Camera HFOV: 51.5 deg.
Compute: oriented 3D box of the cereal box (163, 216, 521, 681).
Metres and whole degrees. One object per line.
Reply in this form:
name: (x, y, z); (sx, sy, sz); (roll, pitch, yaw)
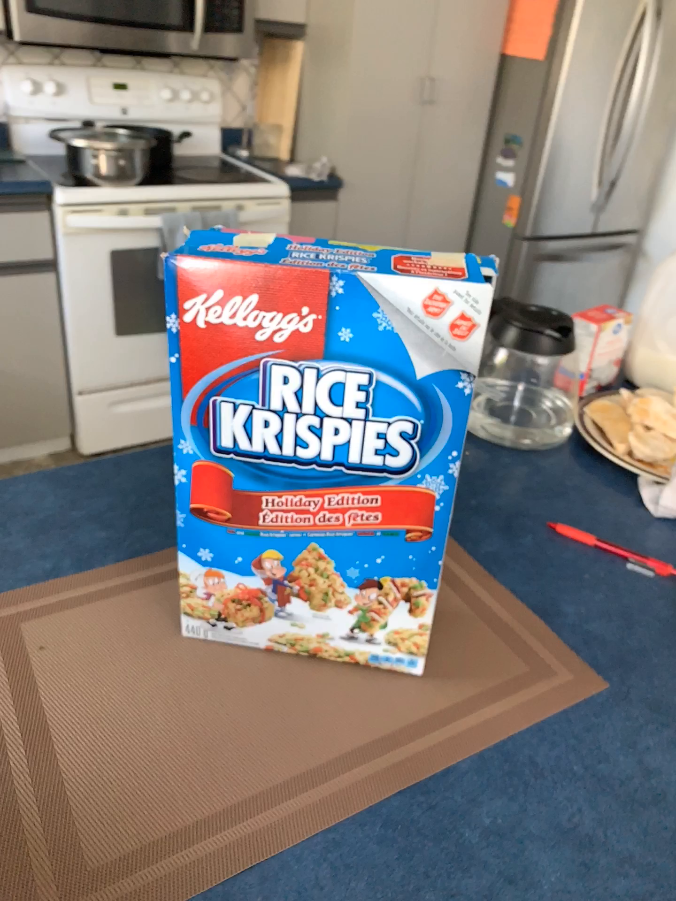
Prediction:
cereal box: (-0.010, 0.010, 0.537); (0.220, 0.327, 0.081); (8, 28, 3)
